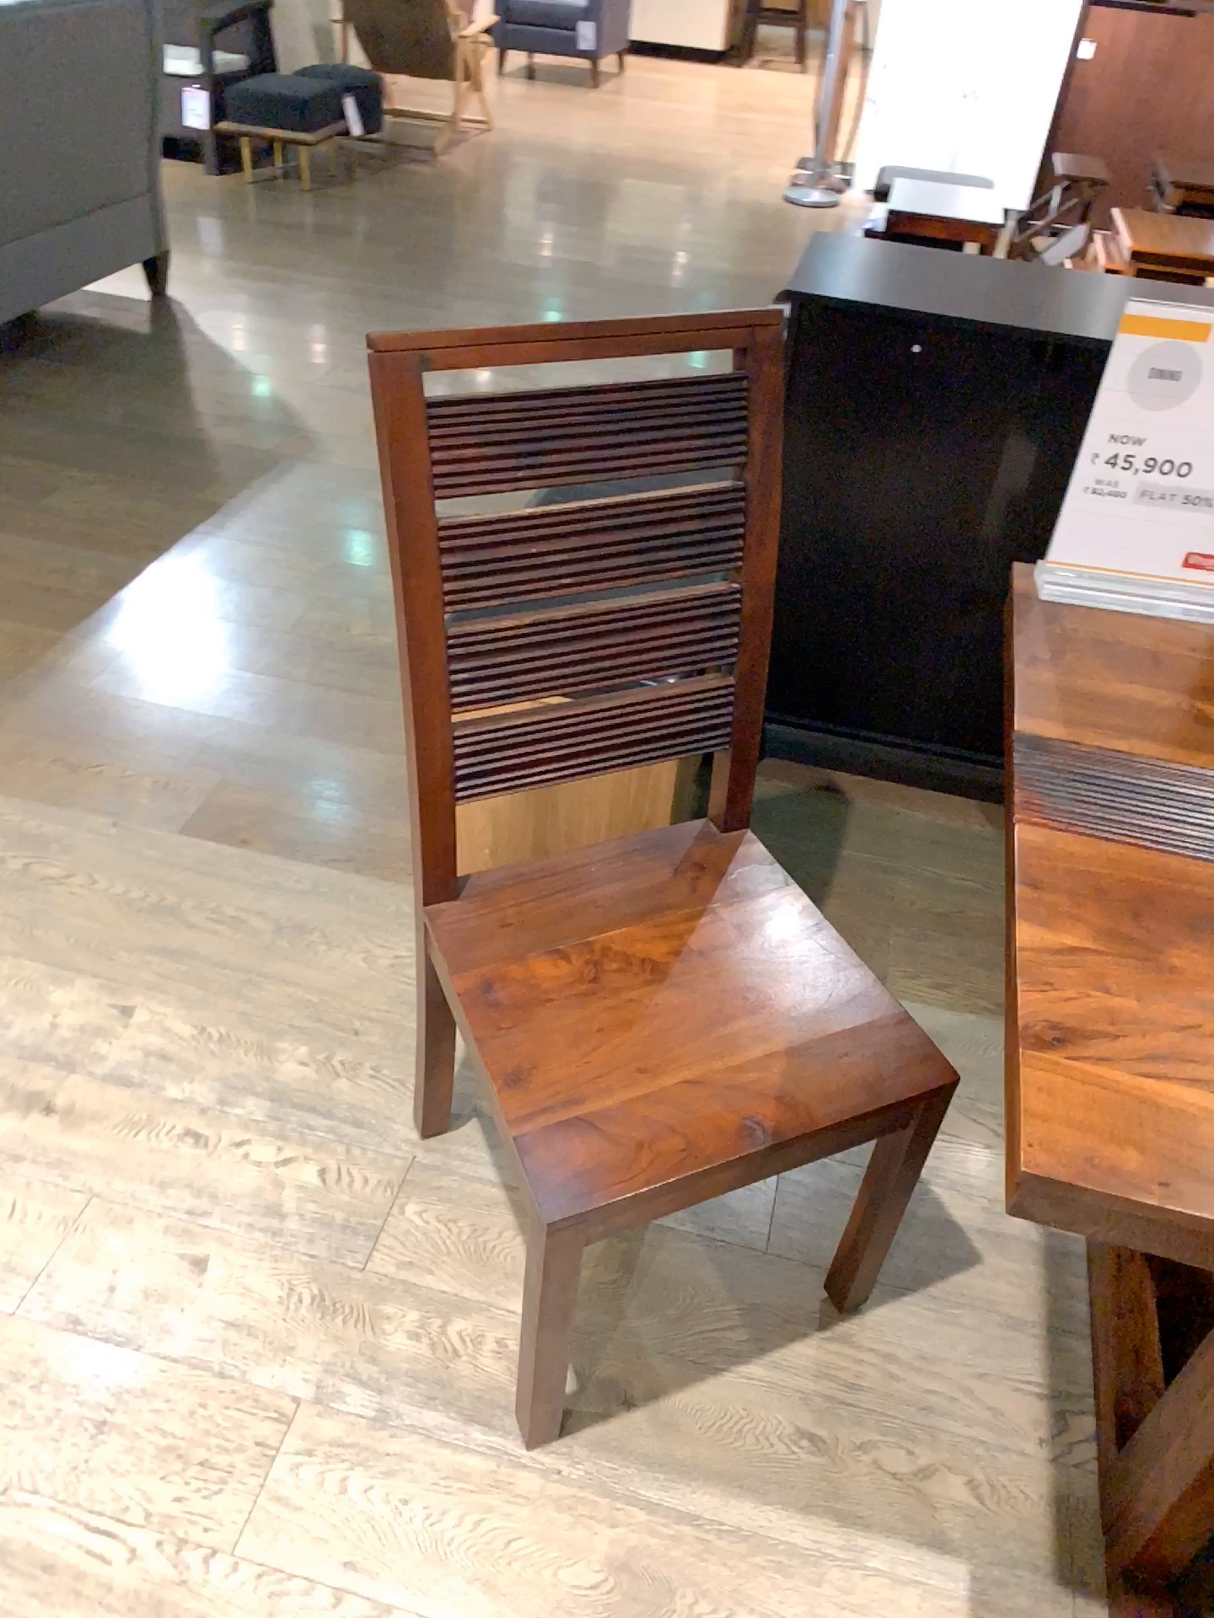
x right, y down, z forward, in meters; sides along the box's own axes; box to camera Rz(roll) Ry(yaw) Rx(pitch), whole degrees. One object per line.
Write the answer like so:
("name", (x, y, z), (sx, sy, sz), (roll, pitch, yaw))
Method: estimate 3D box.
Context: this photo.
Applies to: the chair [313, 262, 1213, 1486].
("chair", (0.076, 0.076, 1.213), (0.521, 0.996, 0.532), (-13, 42, -22))
